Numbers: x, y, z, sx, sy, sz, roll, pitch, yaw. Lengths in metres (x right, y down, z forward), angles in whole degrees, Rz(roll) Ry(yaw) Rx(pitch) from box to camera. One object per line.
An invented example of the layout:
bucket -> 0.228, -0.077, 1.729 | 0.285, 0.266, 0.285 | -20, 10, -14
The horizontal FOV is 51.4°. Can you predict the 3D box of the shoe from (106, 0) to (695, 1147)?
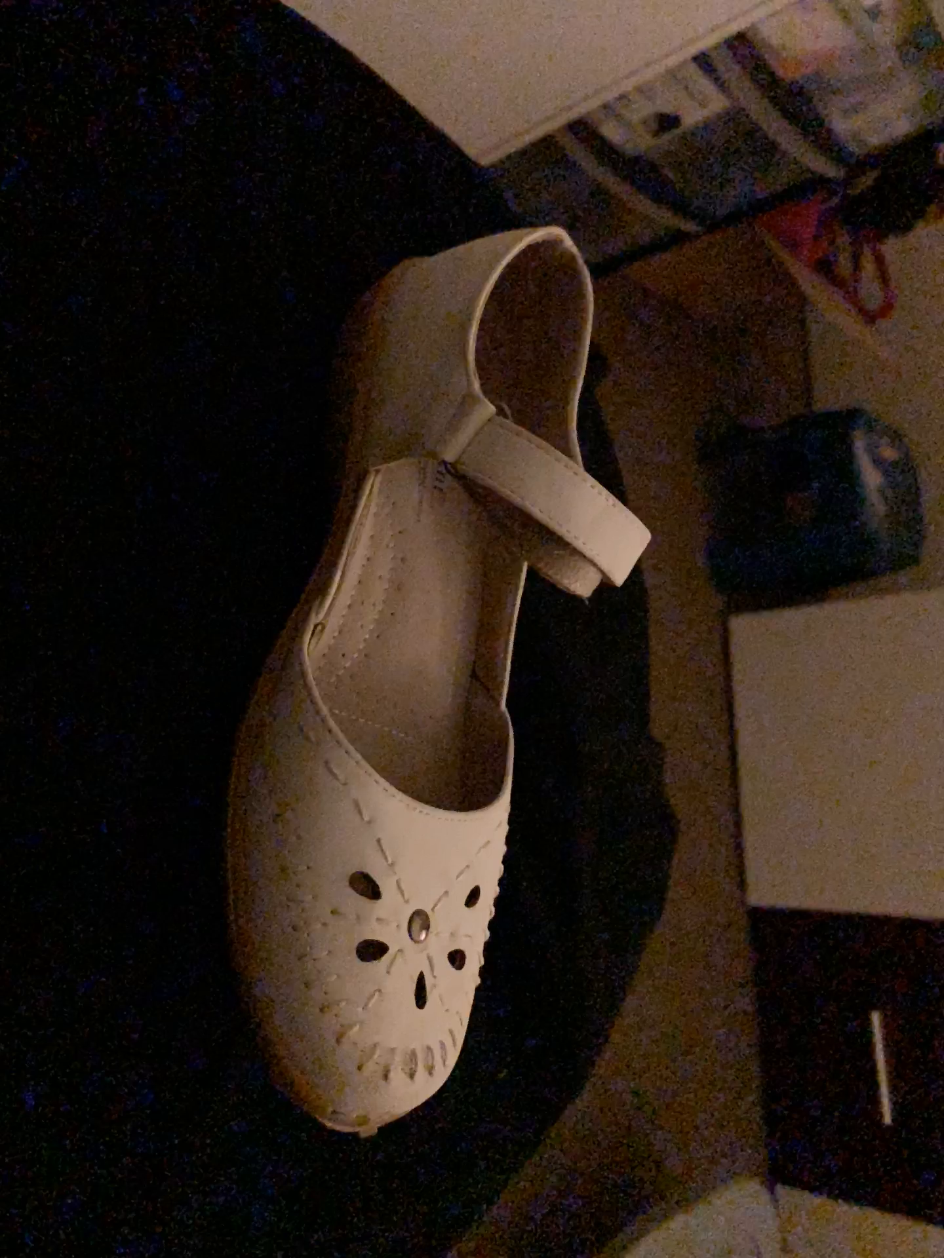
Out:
shoe -> -0.008, -0.020, 0.277 | 0.098, 0.099, 0.271 | 21, 67, -45
